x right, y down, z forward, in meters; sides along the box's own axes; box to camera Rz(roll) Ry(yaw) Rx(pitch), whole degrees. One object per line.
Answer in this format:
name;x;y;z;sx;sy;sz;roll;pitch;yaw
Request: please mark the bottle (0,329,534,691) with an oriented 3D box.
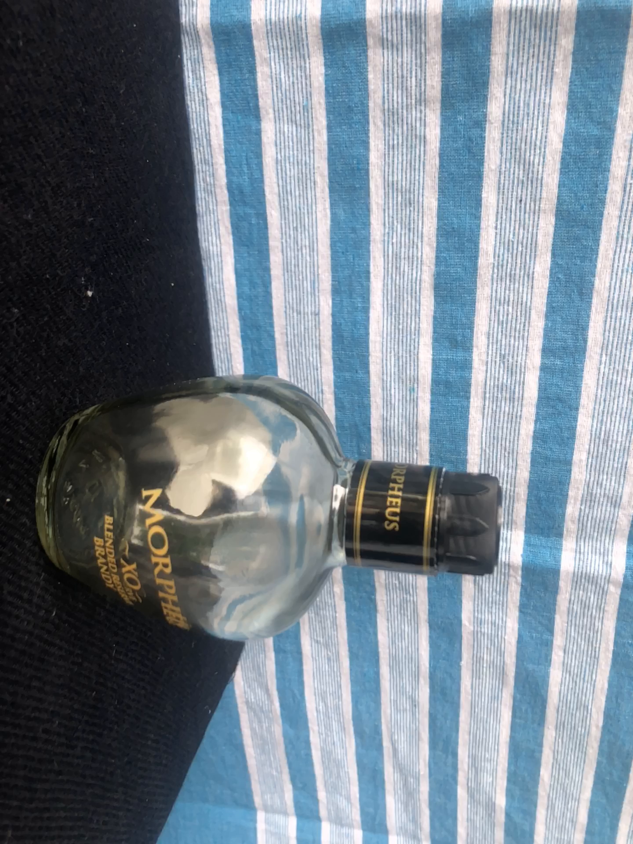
bottle;-0.010;0.021;0.201;0.050;0.129;0.070;-65;157;-52
